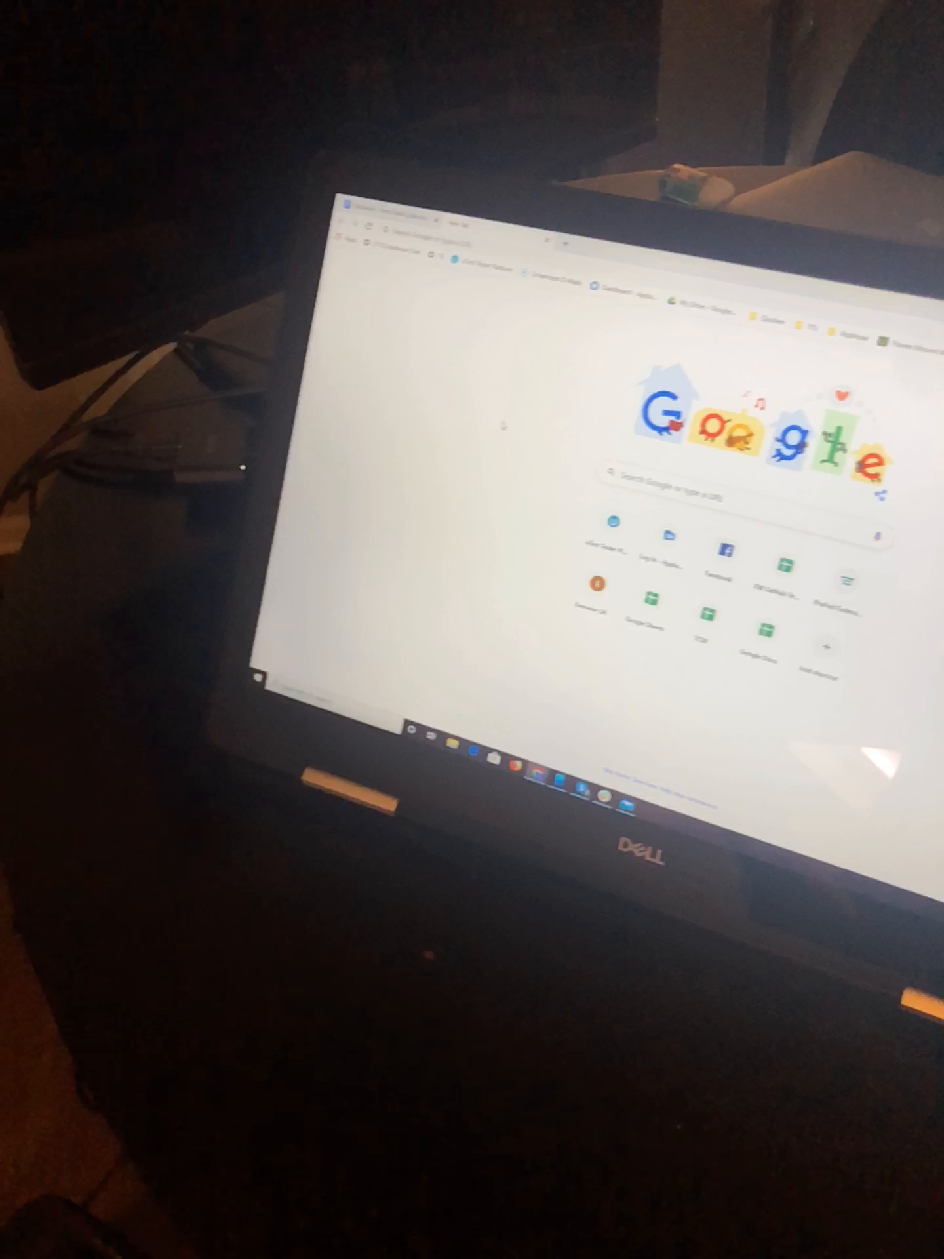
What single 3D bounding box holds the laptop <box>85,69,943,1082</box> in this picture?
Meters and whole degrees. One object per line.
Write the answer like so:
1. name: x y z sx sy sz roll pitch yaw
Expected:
1. laptop: 0.121 -0.058 0.456 0.419 0.232 0.268 17 46 18
